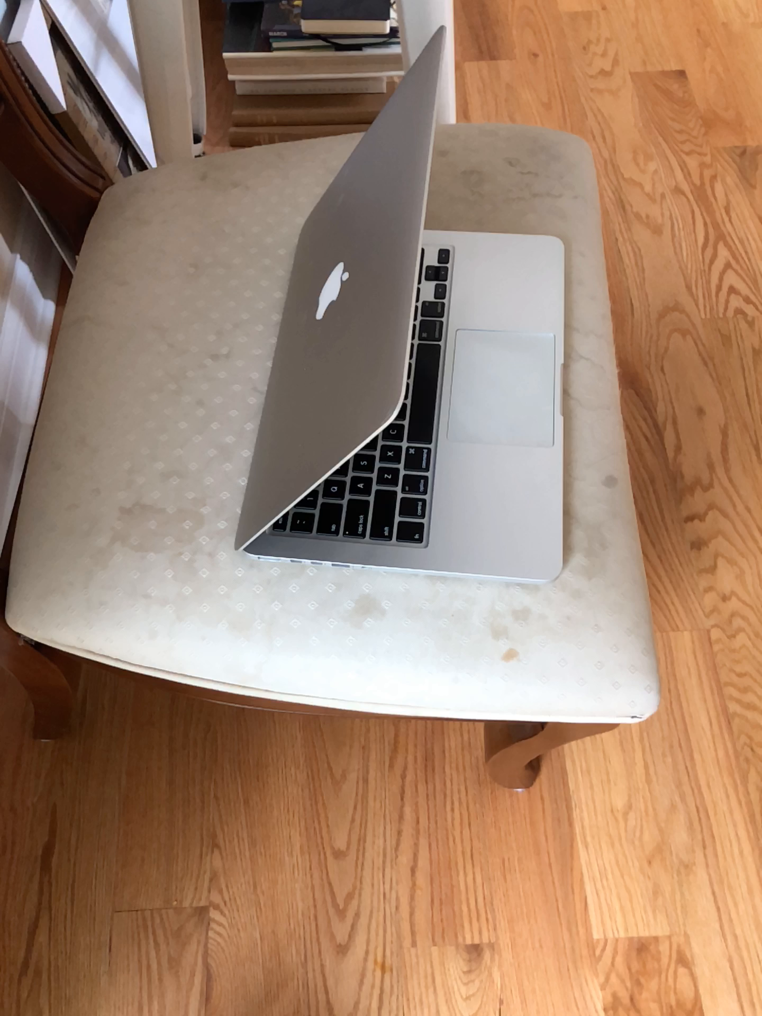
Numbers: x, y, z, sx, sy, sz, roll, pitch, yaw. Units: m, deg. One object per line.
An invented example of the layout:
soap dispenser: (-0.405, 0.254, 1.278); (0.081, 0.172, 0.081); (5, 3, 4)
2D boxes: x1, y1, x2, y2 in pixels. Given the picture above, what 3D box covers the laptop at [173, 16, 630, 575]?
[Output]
laptop: (0.024, -0.140, 0.553); (0.218, 0.183, 0.310); (4, 62, 5)
